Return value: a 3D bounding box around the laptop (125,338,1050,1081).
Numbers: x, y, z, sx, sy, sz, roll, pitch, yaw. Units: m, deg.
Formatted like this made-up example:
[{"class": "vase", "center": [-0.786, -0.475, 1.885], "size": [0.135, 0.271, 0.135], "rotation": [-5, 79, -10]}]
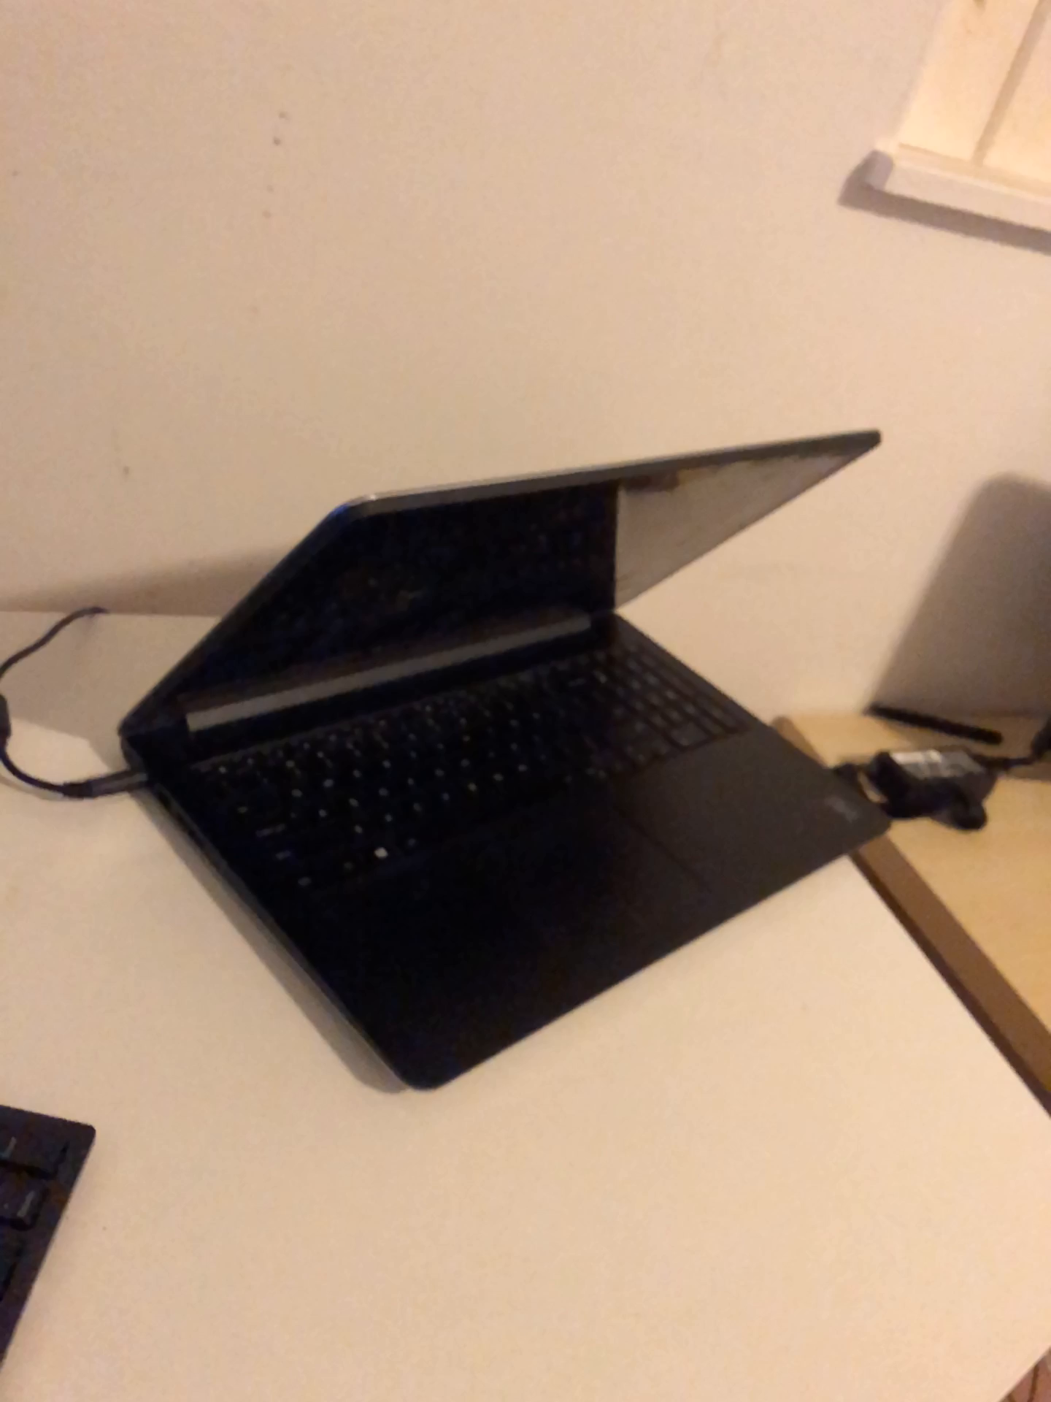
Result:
[{"class": "laptop", "center": [0.035, -0.037, 0.612], "size": [0.374, 0.208, 0.251], "rotation": [-17, 46, -41]}]
